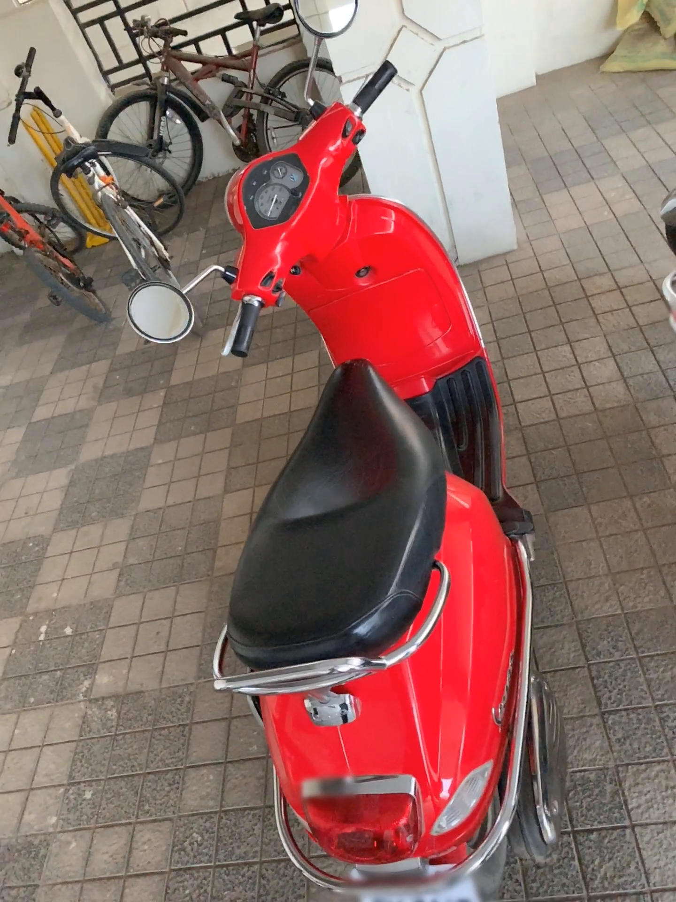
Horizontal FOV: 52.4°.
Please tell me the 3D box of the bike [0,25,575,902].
[{"bbox_3d":[-0.116,0.028,1.592,0.681,1.262,1.554,-16,44,10],"label":"bike"}]
